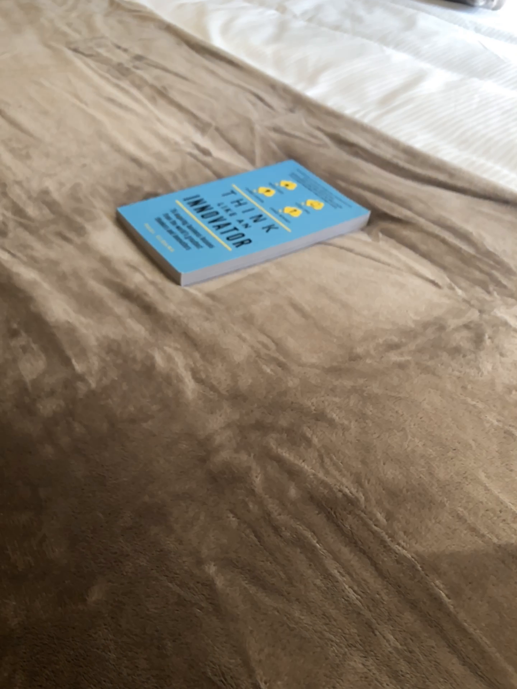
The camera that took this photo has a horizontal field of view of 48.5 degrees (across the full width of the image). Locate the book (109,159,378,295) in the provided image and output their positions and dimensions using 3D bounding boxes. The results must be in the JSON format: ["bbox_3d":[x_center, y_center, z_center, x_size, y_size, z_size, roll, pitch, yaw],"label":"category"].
[{"bbox_3d":[-0.014,-0.126,0.563,0.221,0.020,0.140,-22,46,-26],"label":"book"}]
